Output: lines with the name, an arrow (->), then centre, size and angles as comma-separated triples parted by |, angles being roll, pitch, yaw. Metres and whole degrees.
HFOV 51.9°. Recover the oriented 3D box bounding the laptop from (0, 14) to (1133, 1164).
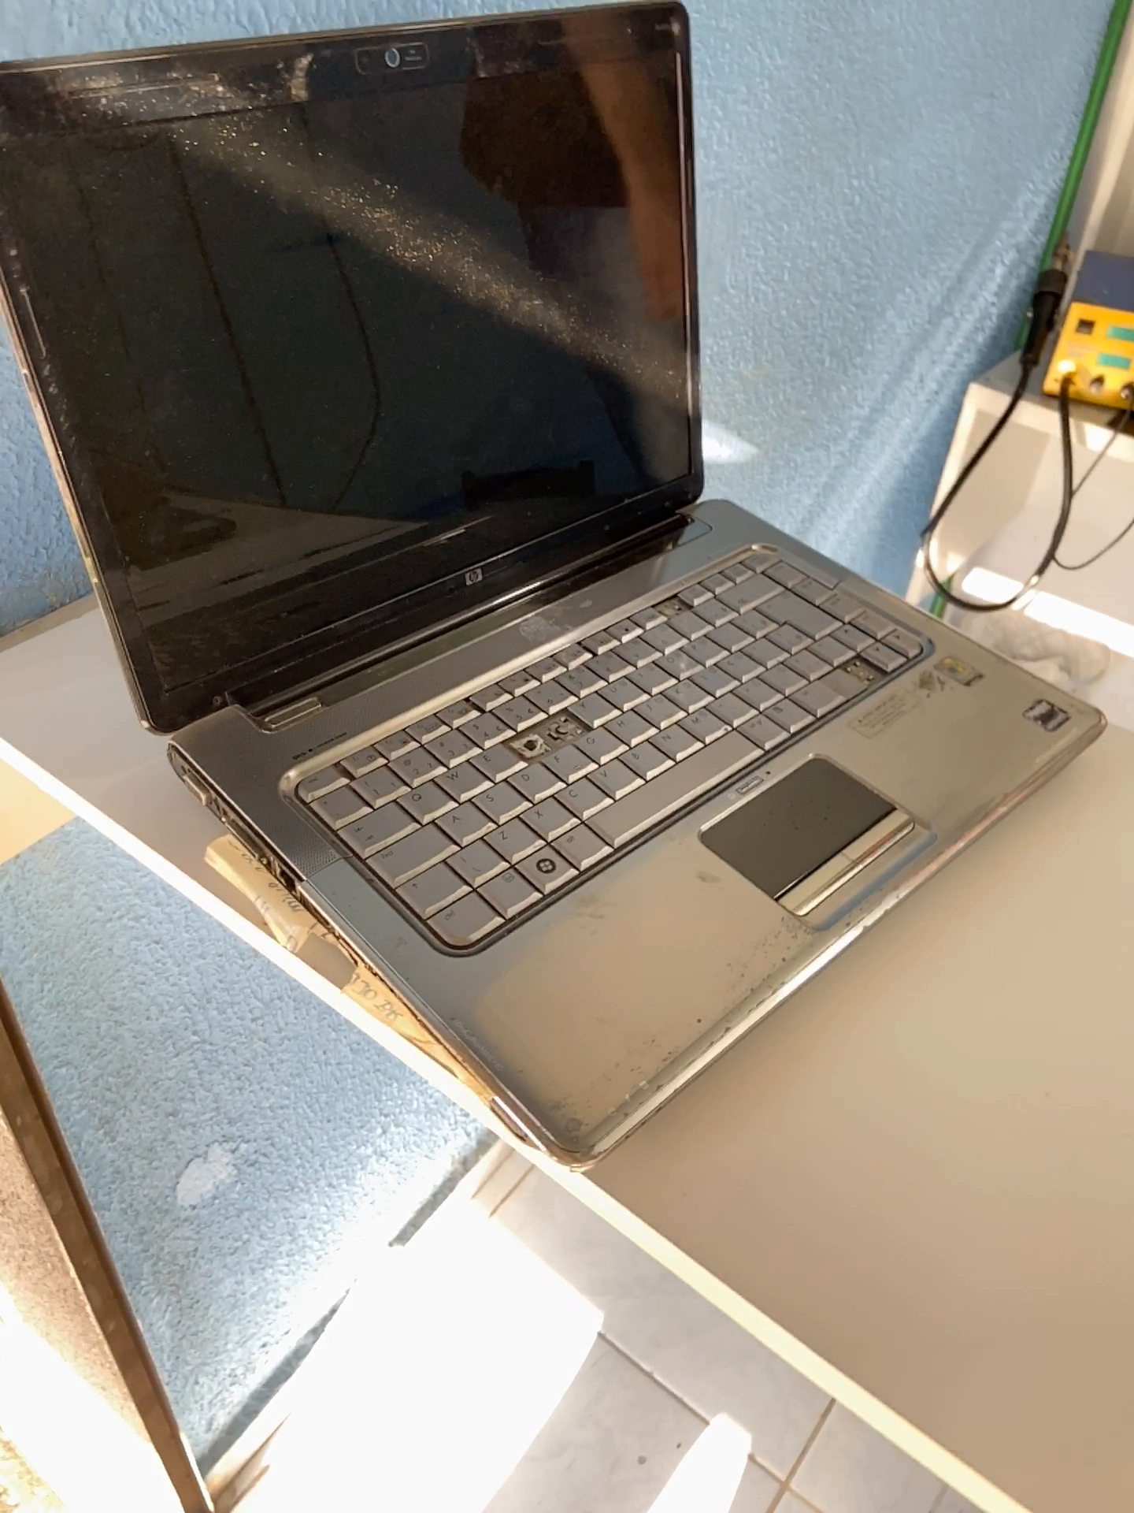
laptop -> 0.025, -0.121, 0.468 | 0.352, 0.233, 0.329 | -29, 51, -33
